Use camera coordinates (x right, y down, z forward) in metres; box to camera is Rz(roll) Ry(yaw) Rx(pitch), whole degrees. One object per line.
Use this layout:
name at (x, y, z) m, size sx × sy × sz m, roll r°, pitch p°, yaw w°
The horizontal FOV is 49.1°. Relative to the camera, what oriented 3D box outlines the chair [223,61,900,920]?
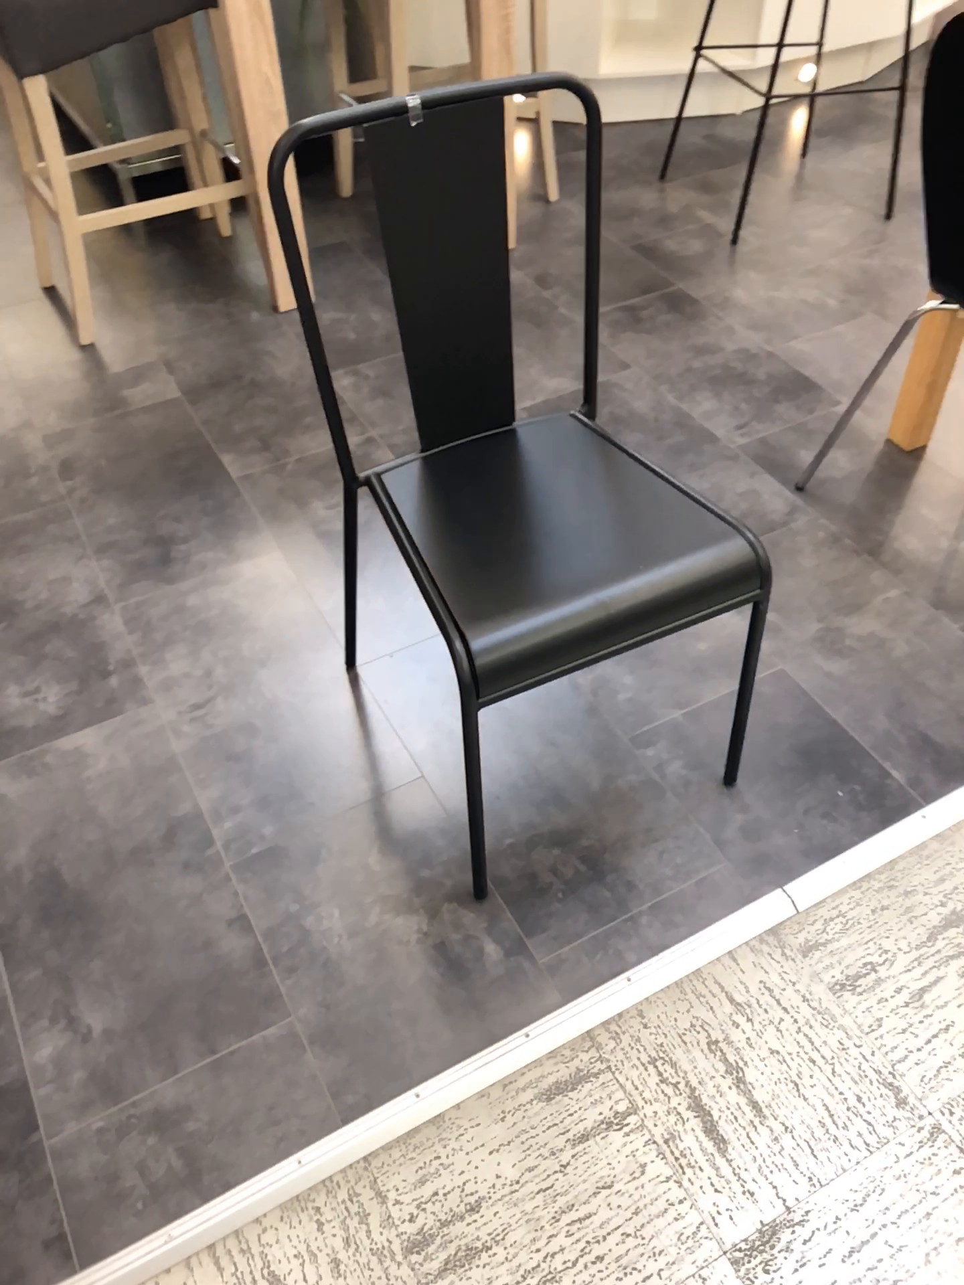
chair at (0.053, -0.177, 1.345) m, size 0.441 × 0.815 × 0.572 m, roll -22°, pitch 49°, yaw -19°
